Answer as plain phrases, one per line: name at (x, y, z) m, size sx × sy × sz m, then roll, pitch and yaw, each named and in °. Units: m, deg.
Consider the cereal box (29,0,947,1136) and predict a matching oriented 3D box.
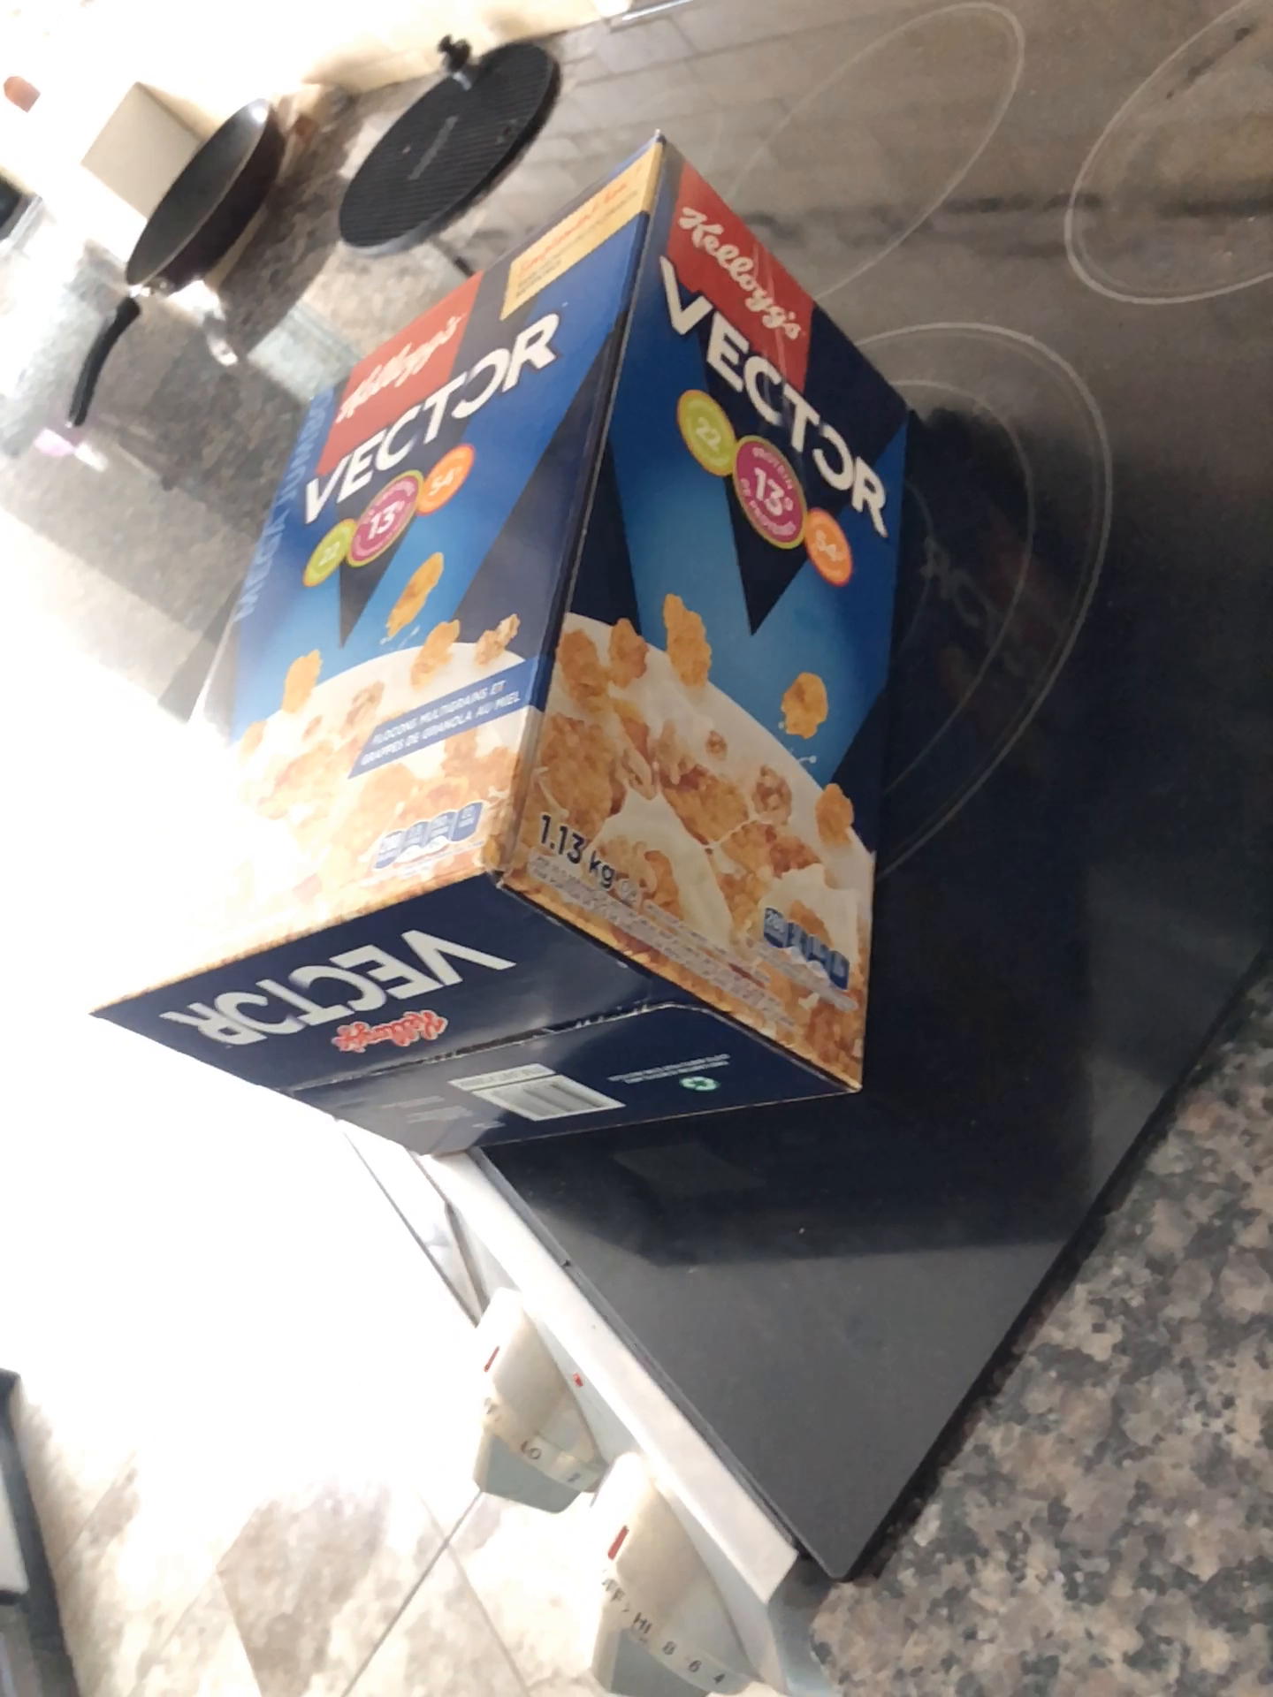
cereal box at (-0.034, -0.087, 0.490) m, size 0.221 × 0.169 × 0.310 m, roll -18°, pitch 54°, yaw 39°
